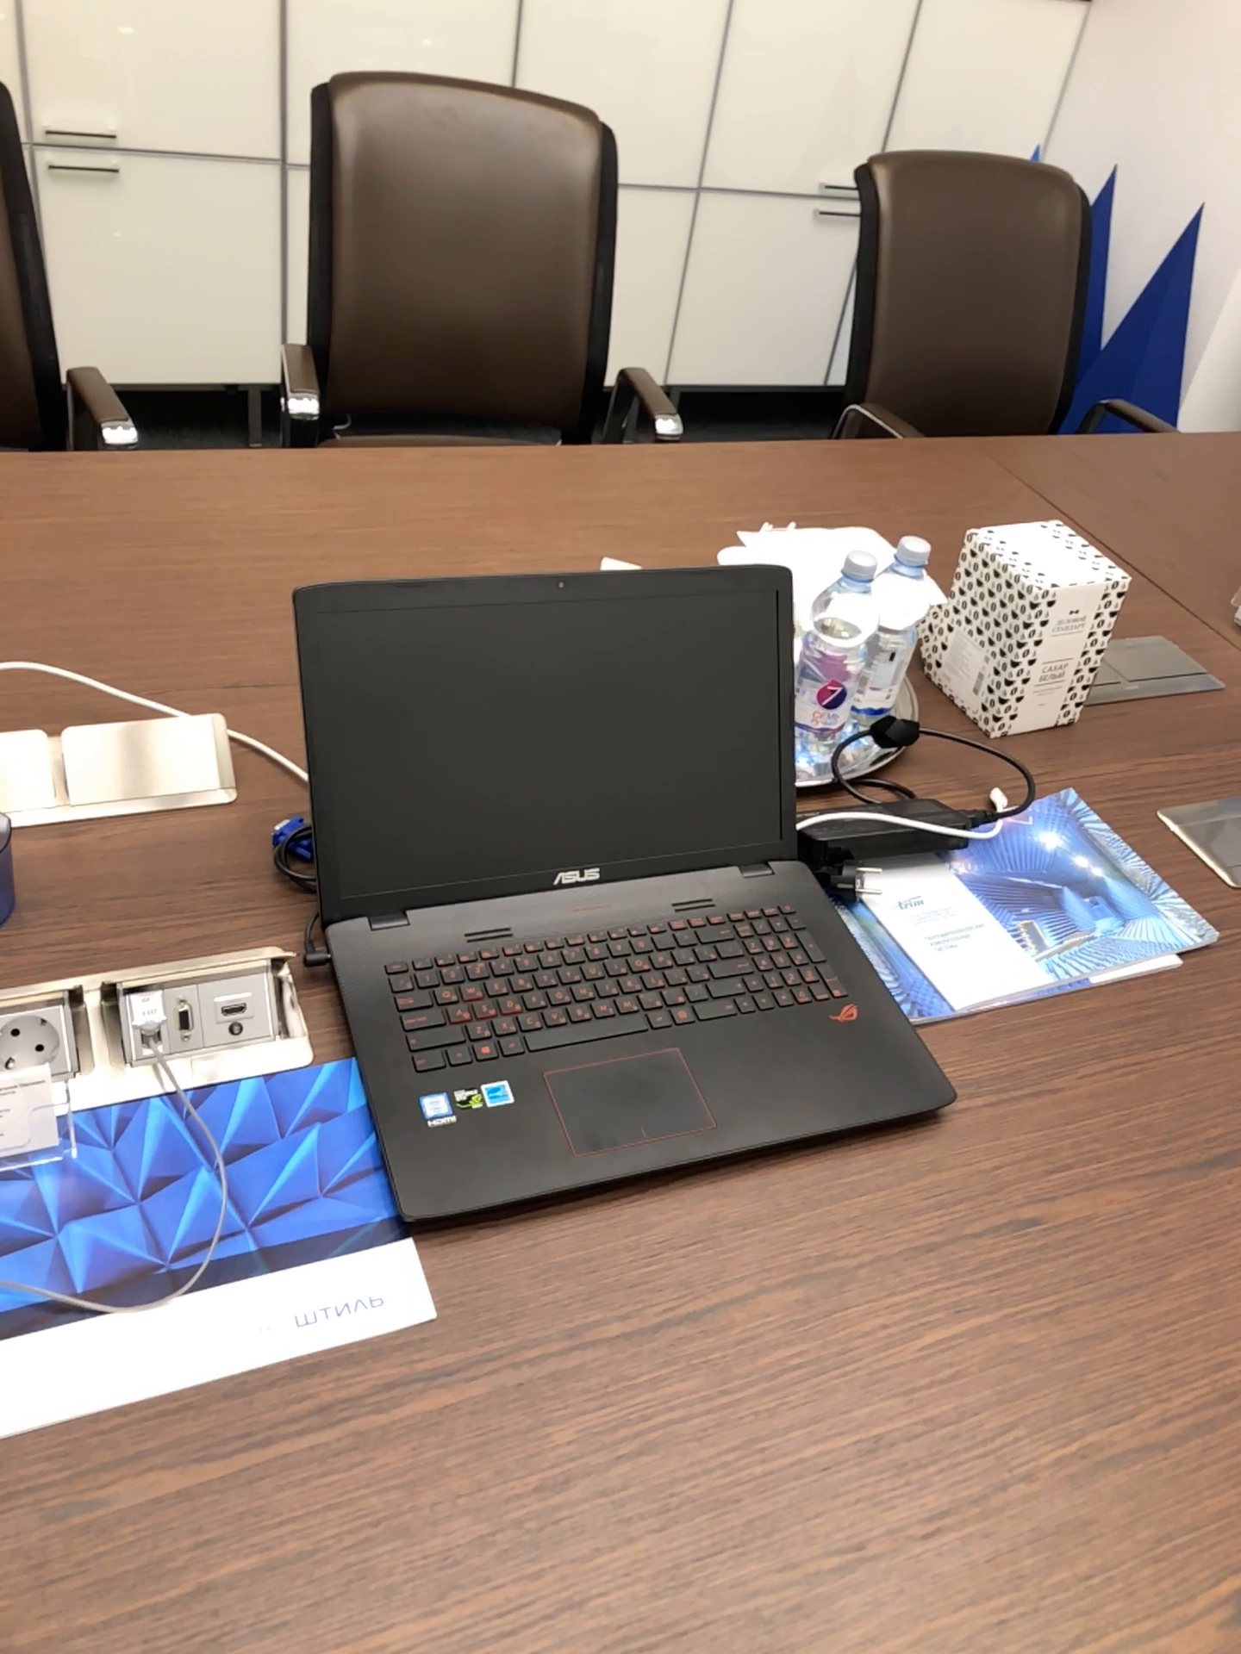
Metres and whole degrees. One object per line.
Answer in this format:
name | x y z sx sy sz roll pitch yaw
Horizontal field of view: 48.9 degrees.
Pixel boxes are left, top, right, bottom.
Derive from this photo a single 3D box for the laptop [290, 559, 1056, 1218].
laptop | 0.003 0.008 0.918 0.380 0.194 0.370 -7 42 -21
